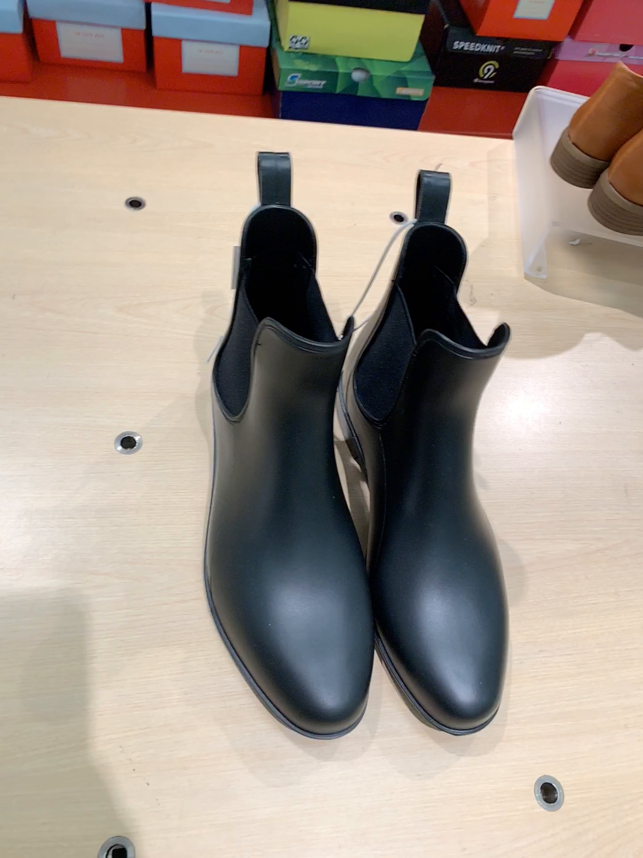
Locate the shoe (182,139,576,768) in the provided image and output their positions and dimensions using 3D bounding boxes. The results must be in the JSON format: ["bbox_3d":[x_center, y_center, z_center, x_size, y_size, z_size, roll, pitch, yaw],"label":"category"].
[{"bbox_3d":[-0.008,0.016,0.377,0.113,0.202,0.286,-5,60,-14],"label":"shoe"}]

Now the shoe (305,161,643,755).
[{"bbox_3d":[0.079,0.019,0.395,0.100,0.200,0.286,-5,60,-14],"label":"shoe"}]
